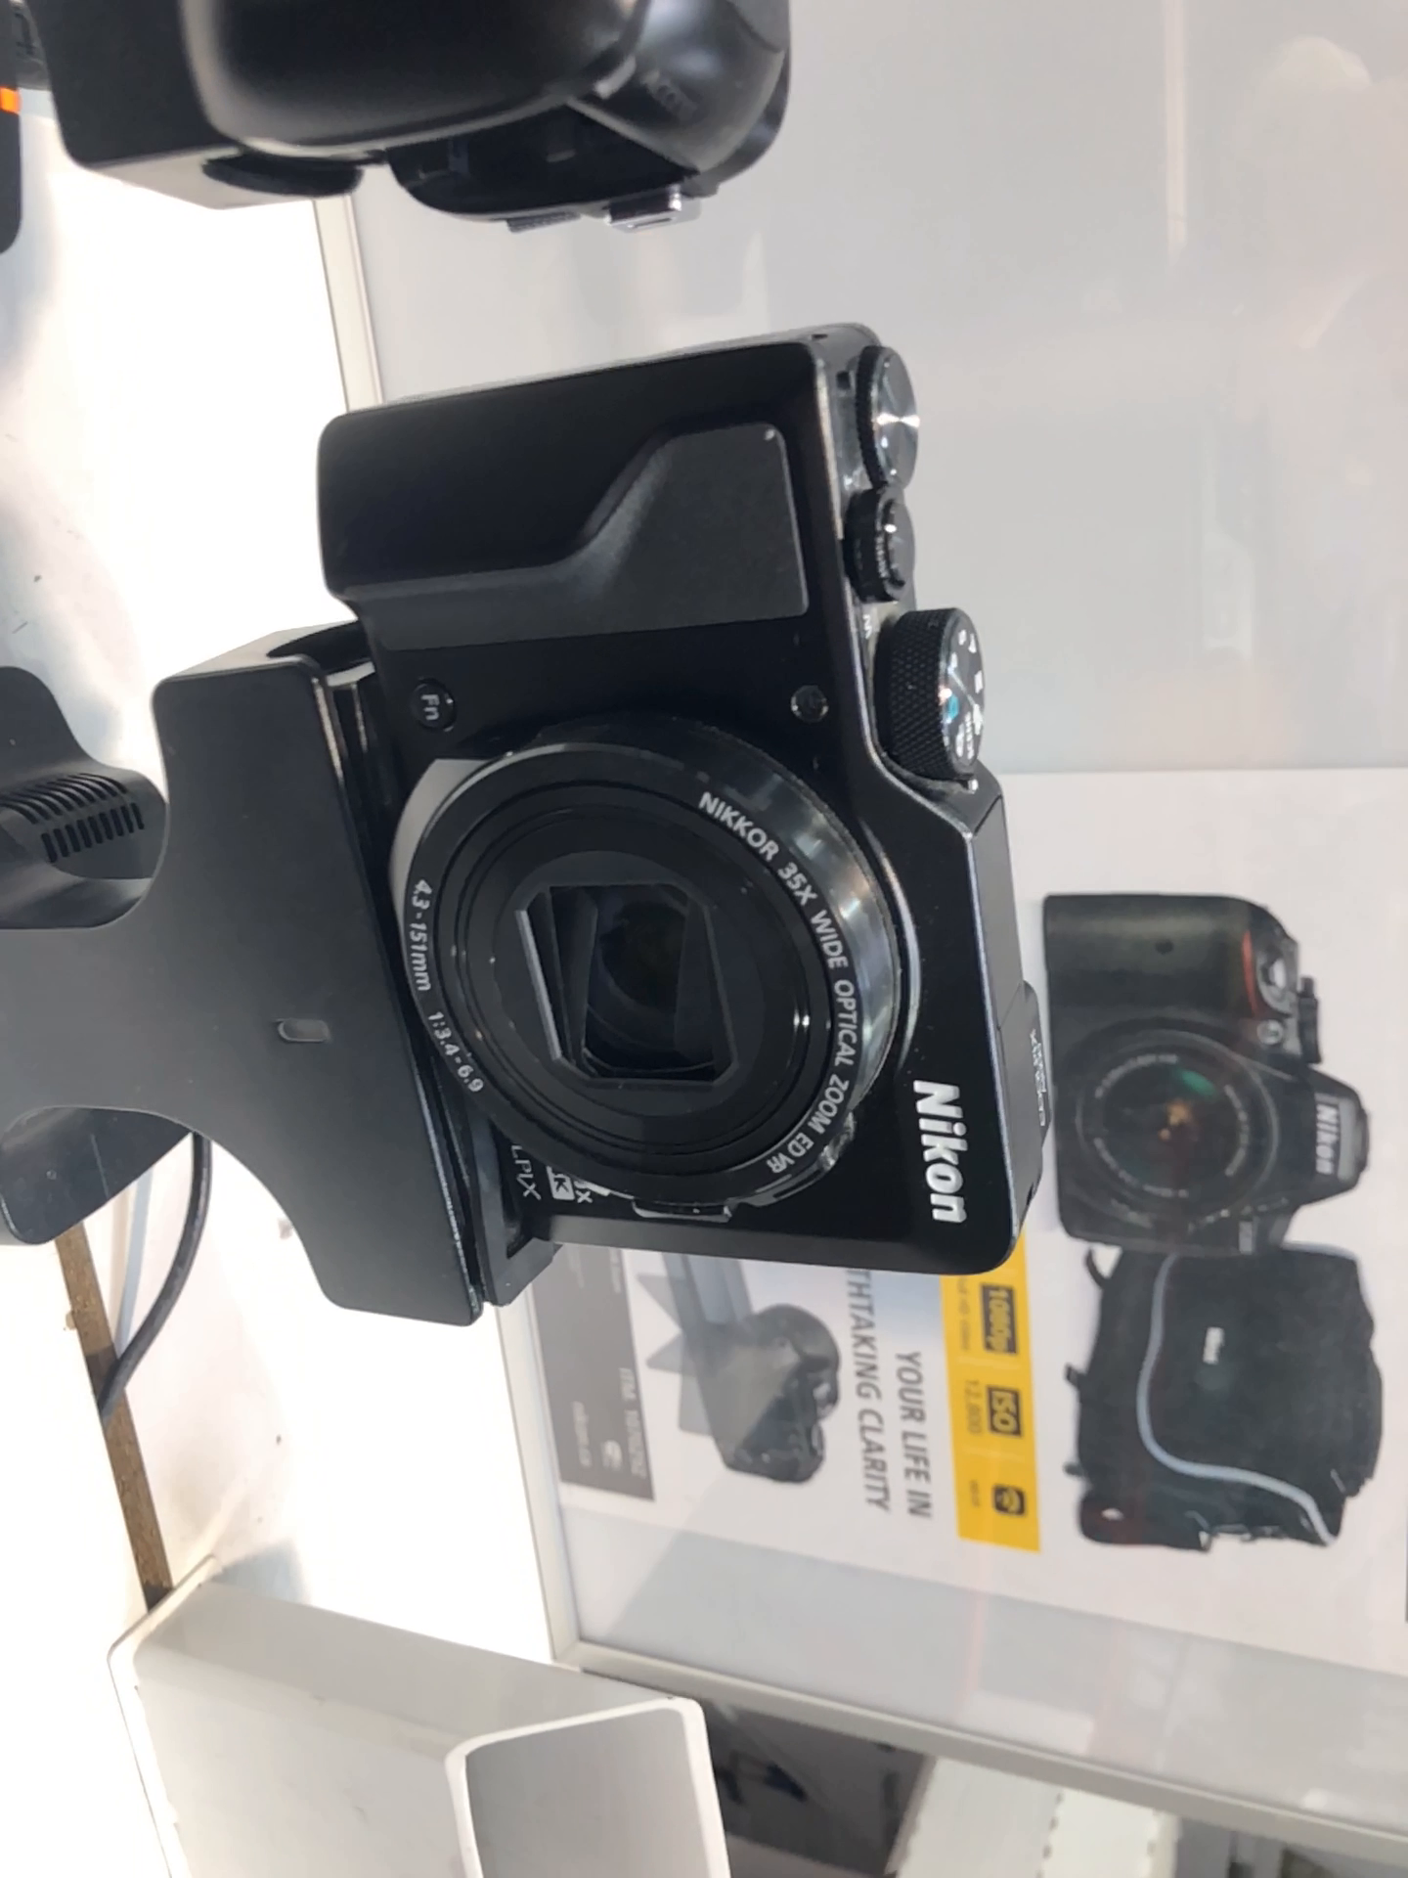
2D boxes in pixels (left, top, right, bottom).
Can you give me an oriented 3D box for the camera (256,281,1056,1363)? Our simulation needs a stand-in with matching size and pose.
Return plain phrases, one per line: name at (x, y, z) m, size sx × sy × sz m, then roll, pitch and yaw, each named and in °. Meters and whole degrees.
camera at (0.003, -0.011, 0.192) m, size 0.044 × 0.069 × 0.117 m, roll -59°, pitch 144°, yaw -57°
